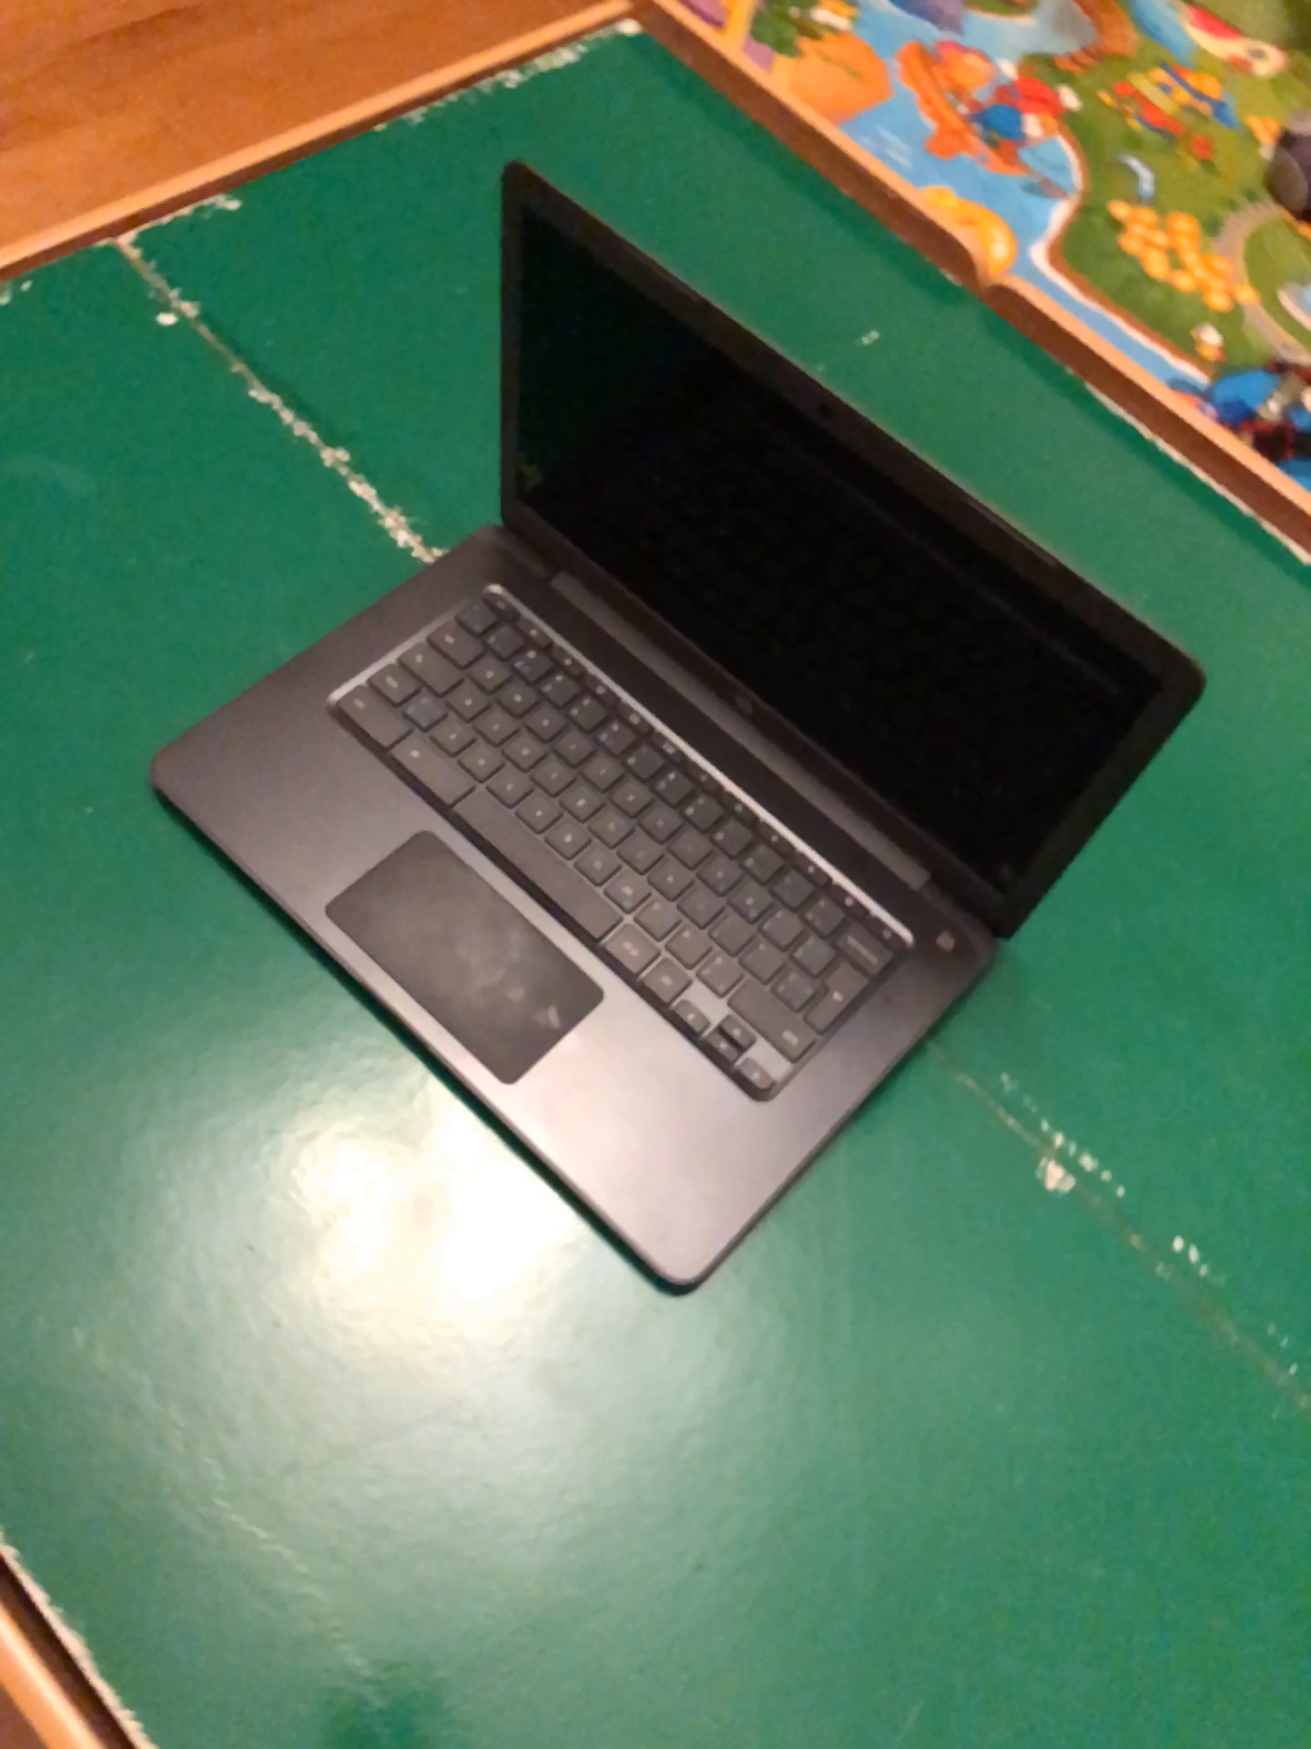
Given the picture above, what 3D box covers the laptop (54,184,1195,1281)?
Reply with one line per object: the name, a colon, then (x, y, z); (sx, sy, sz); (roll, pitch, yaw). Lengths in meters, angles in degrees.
laptop: (-0.024, -0.055, 0.562); (0.317, 0.204, 0.211); (42, 64, 16)
